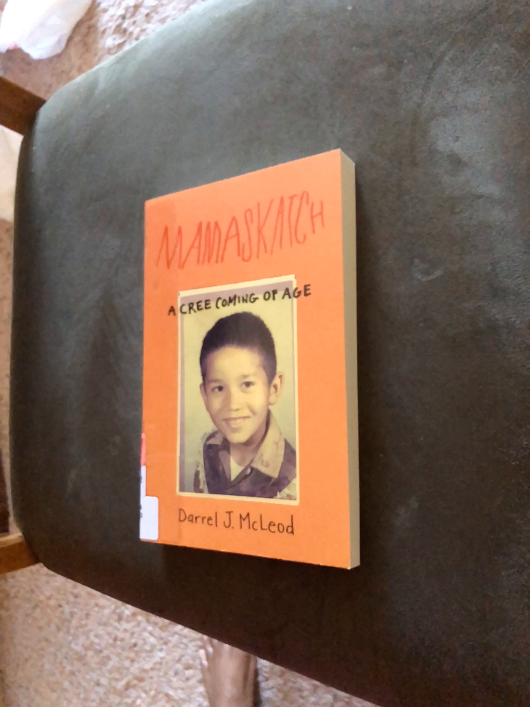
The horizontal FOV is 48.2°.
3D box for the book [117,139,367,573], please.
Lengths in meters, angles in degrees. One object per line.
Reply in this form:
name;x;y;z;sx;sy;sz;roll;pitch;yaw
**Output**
book;-0.020;0.004;0.354;0.150;0.040;0.218;-4;84;33
